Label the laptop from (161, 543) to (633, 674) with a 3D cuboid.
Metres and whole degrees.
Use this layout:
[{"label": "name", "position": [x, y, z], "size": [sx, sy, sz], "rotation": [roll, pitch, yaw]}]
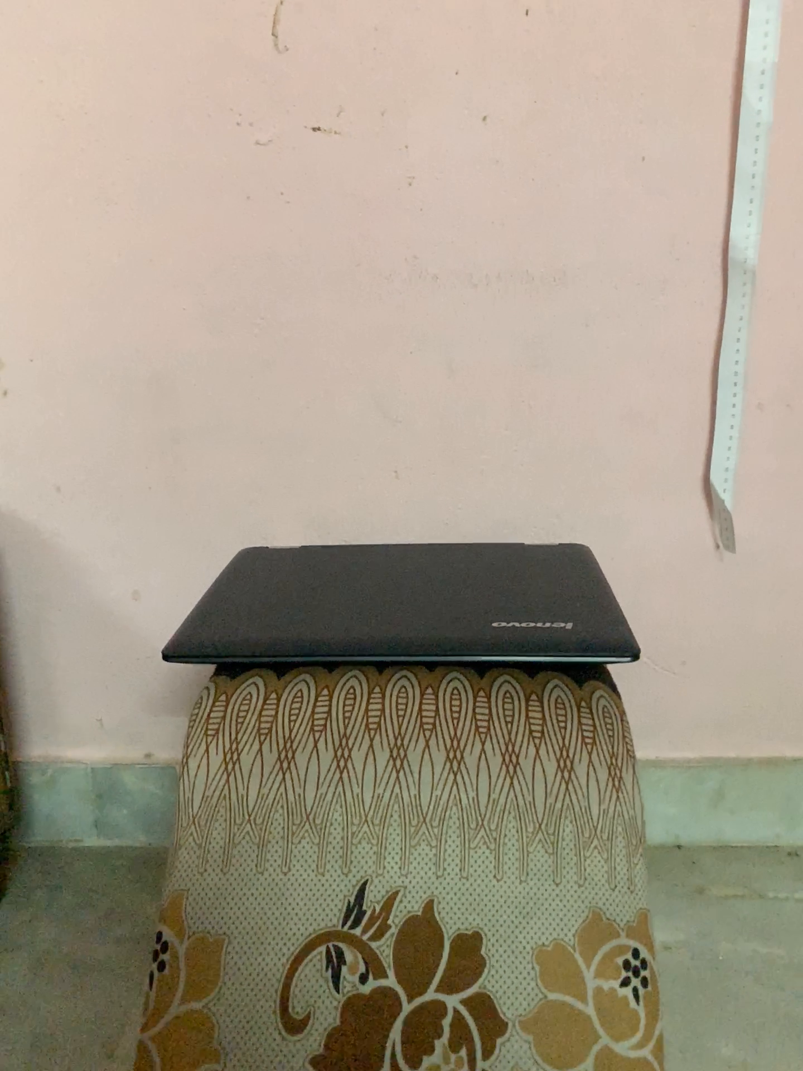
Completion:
[{"label": "laptop", "position": [0.002, 0.050, 0.643], "size": [0.312, 0.012, 0.214], "rotation": [-1, 19, 4]}]
